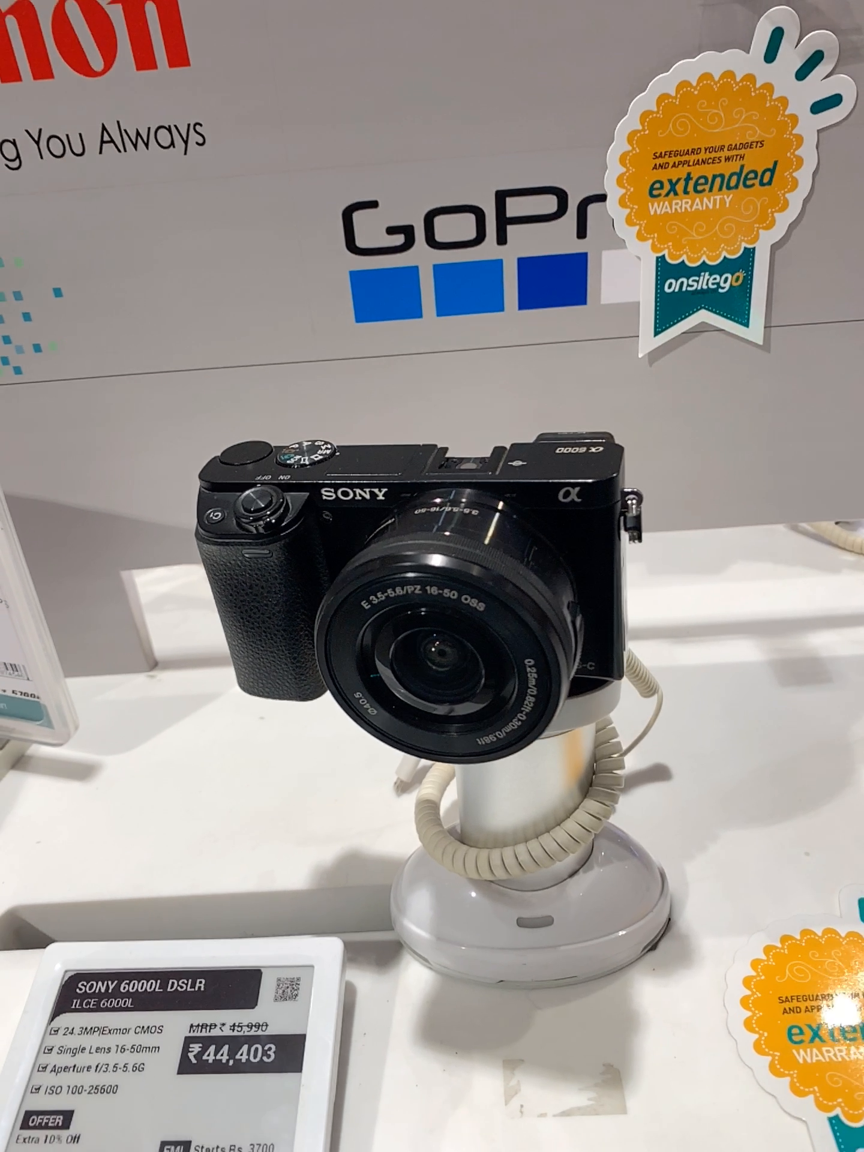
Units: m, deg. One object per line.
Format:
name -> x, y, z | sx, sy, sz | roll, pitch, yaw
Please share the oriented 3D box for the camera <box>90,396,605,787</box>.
camera -> -0.015, 0.003, 0.246 | 0.120, 0.090, 0.050 | 1, 33, 11
